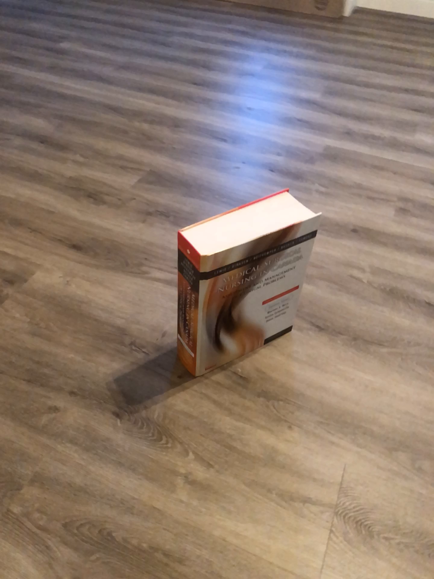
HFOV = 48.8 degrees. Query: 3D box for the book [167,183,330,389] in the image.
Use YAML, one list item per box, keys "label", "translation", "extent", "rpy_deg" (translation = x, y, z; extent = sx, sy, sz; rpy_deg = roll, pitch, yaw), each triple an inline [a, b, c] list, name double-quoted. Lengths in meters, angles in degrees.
- label: "book"
  translation: [0.042, -0.002, 0.806]
  extent: [0.240, 0.290, 0.087]
  rpy_deg: [-23, 50, -27]
